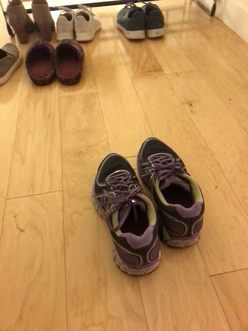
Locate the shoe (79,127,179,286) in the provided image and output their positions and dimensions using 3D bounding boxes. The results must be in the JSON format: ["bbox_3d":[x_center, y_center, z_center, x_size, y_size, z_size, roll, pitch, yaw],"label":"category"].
[{"bbox_3d":[-0.006,0.060,0.535,0.110,0.099,0.292,-12,48,-9],"label":"shoe"}]

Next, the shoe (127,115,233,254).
[{"bbox_3d":[0.095,0.020,0.566,0.120,0.079,0.292,-9,47,-7],"label":"shoe"}]
